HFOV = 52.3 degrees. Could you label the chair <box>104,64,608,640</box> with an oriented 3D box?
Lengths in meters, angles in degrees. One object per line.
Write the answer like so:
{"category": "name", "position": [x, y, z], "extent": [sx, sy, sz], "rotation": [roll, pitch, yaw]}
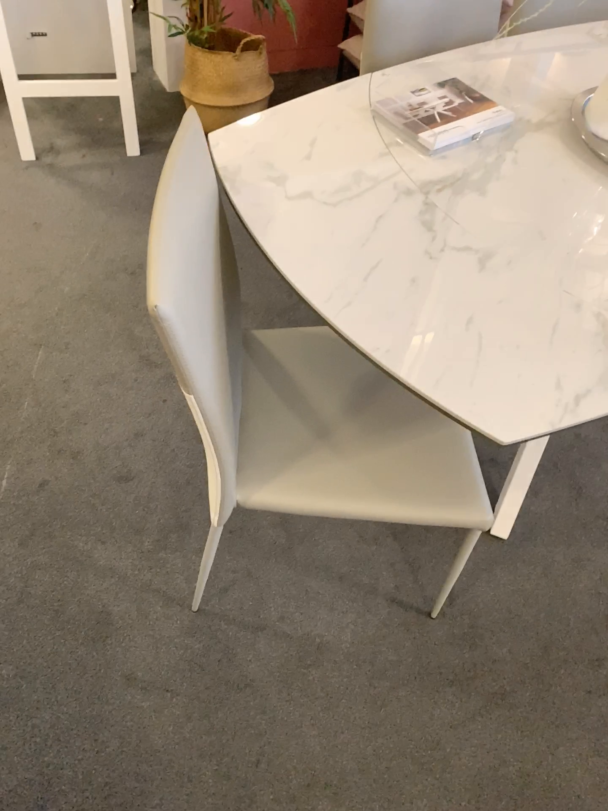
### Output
{"category": "chair", "position": [0.057, -0.007, 1.058], "extent": [0.581, 0.824, 0.536], "rotation": [1, 53, -7]}
